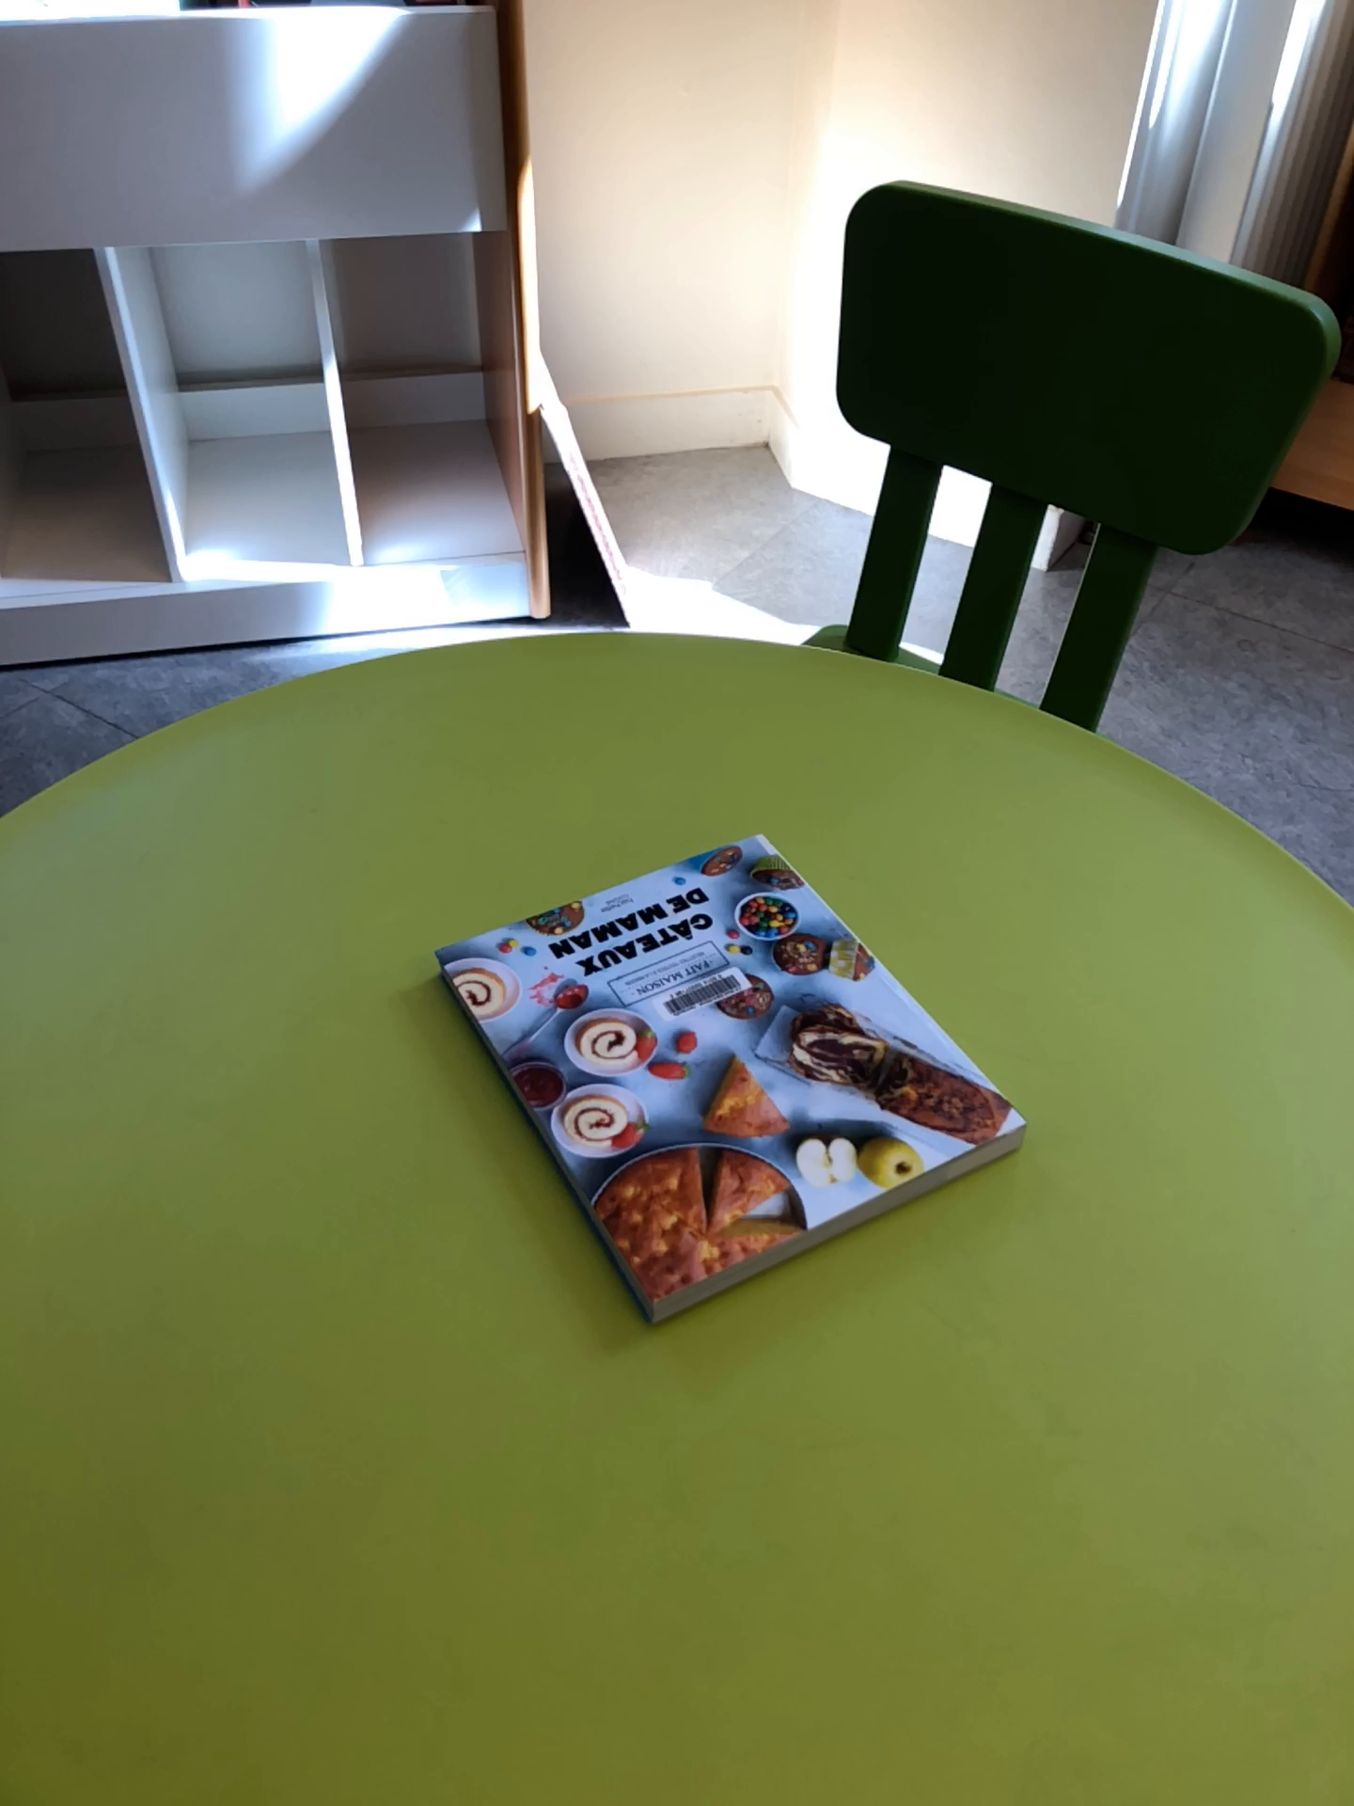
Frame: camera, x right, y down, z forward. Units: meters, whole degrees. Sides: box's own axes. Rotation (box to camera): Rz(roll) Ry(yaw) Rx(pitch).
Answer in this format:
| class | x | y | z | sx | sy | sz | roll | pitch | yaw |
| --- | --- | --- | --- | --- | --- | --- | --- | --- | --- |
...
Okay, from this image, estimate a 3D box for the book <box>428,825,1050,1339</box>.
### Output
| class | x | y | z | sx | sy | sz | roll | pitch | yaw |
| --- | --- | --- | --- | --- | --- | --- | --- | --- | --- |
| book | 0.021 | 0.066 | 0.695 | 0.201 | 0.021 | 0.229 | -20 | 47 | -22 |
